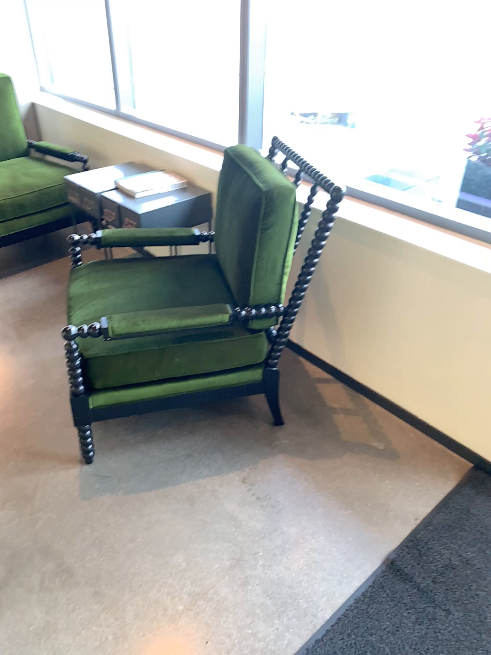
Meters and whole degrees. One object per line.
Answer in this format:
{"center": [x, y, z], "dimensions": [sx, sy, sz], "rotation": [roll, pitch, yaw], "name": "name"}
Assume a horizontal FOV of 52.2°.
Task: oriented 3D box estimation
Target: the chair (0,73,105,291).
{"center": [-1.508, -0.942, 3.076], "dimensions": [0.924, 0.974, 0.732], "rotation": [28, 42, 34], "name": "chair"}

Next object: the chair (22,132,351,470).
{"center": [-0.234, -0.149, 1.972], "dimensions": [0.920, 0.984, 0.765], "rotation": [-7, 34, -12], "name": "chair"}
